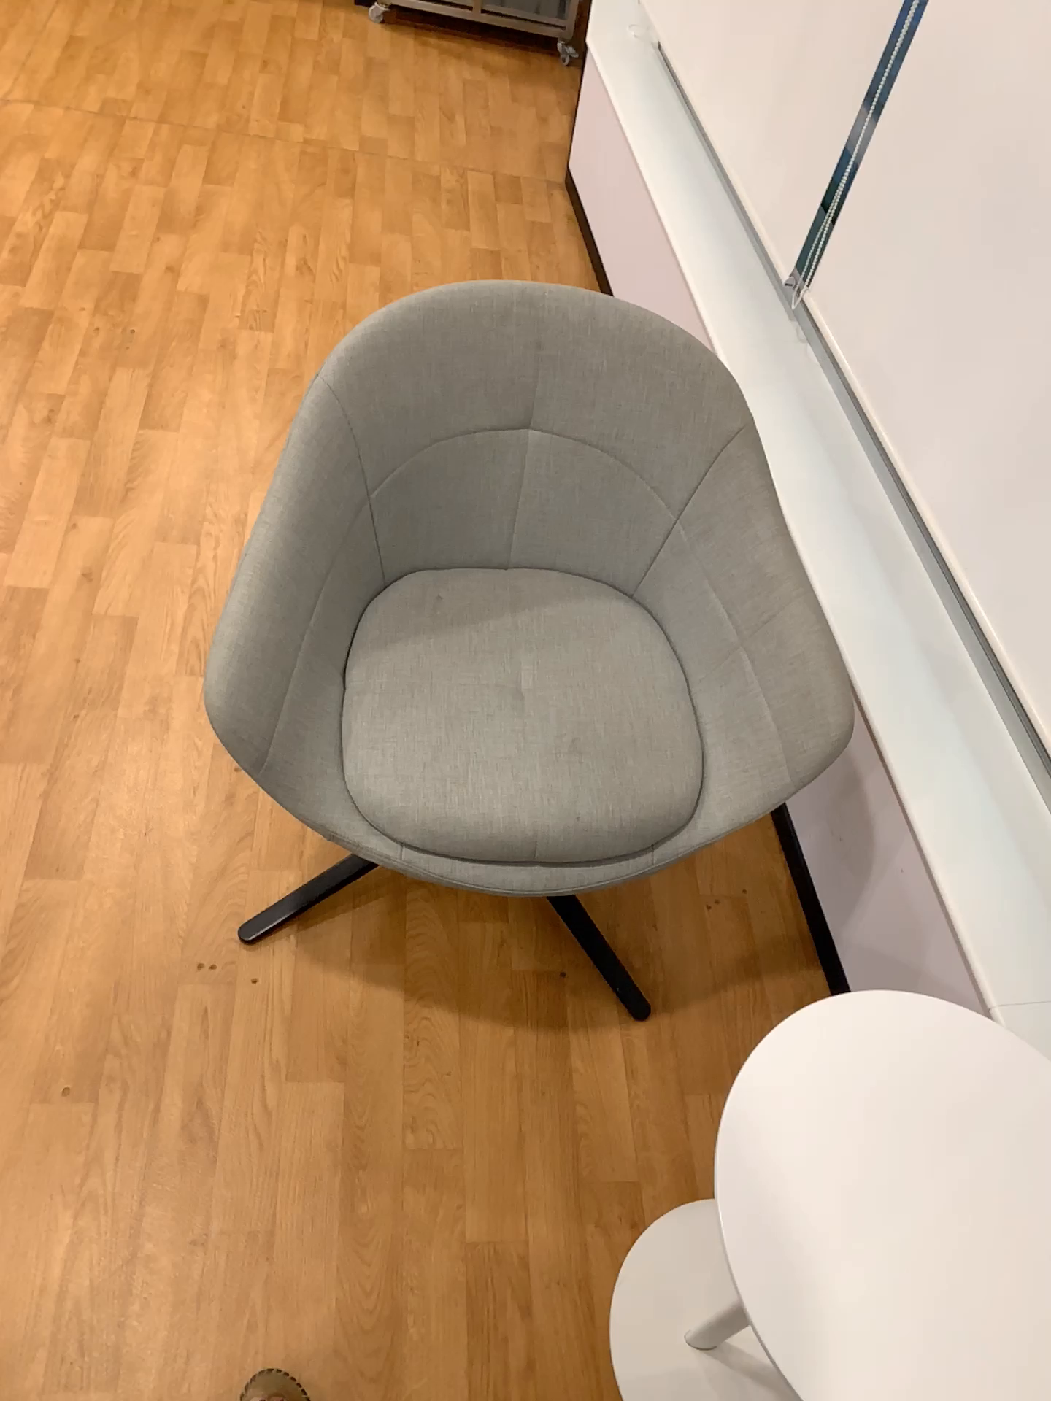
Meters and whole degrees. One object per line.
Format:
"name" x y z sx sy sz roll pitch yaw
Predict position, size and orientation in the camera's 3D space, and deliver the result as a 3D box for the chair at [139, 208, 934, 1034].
"chair" -0.050 -0.055 1.390 0.670 0.754 0.685 5 50 -9
